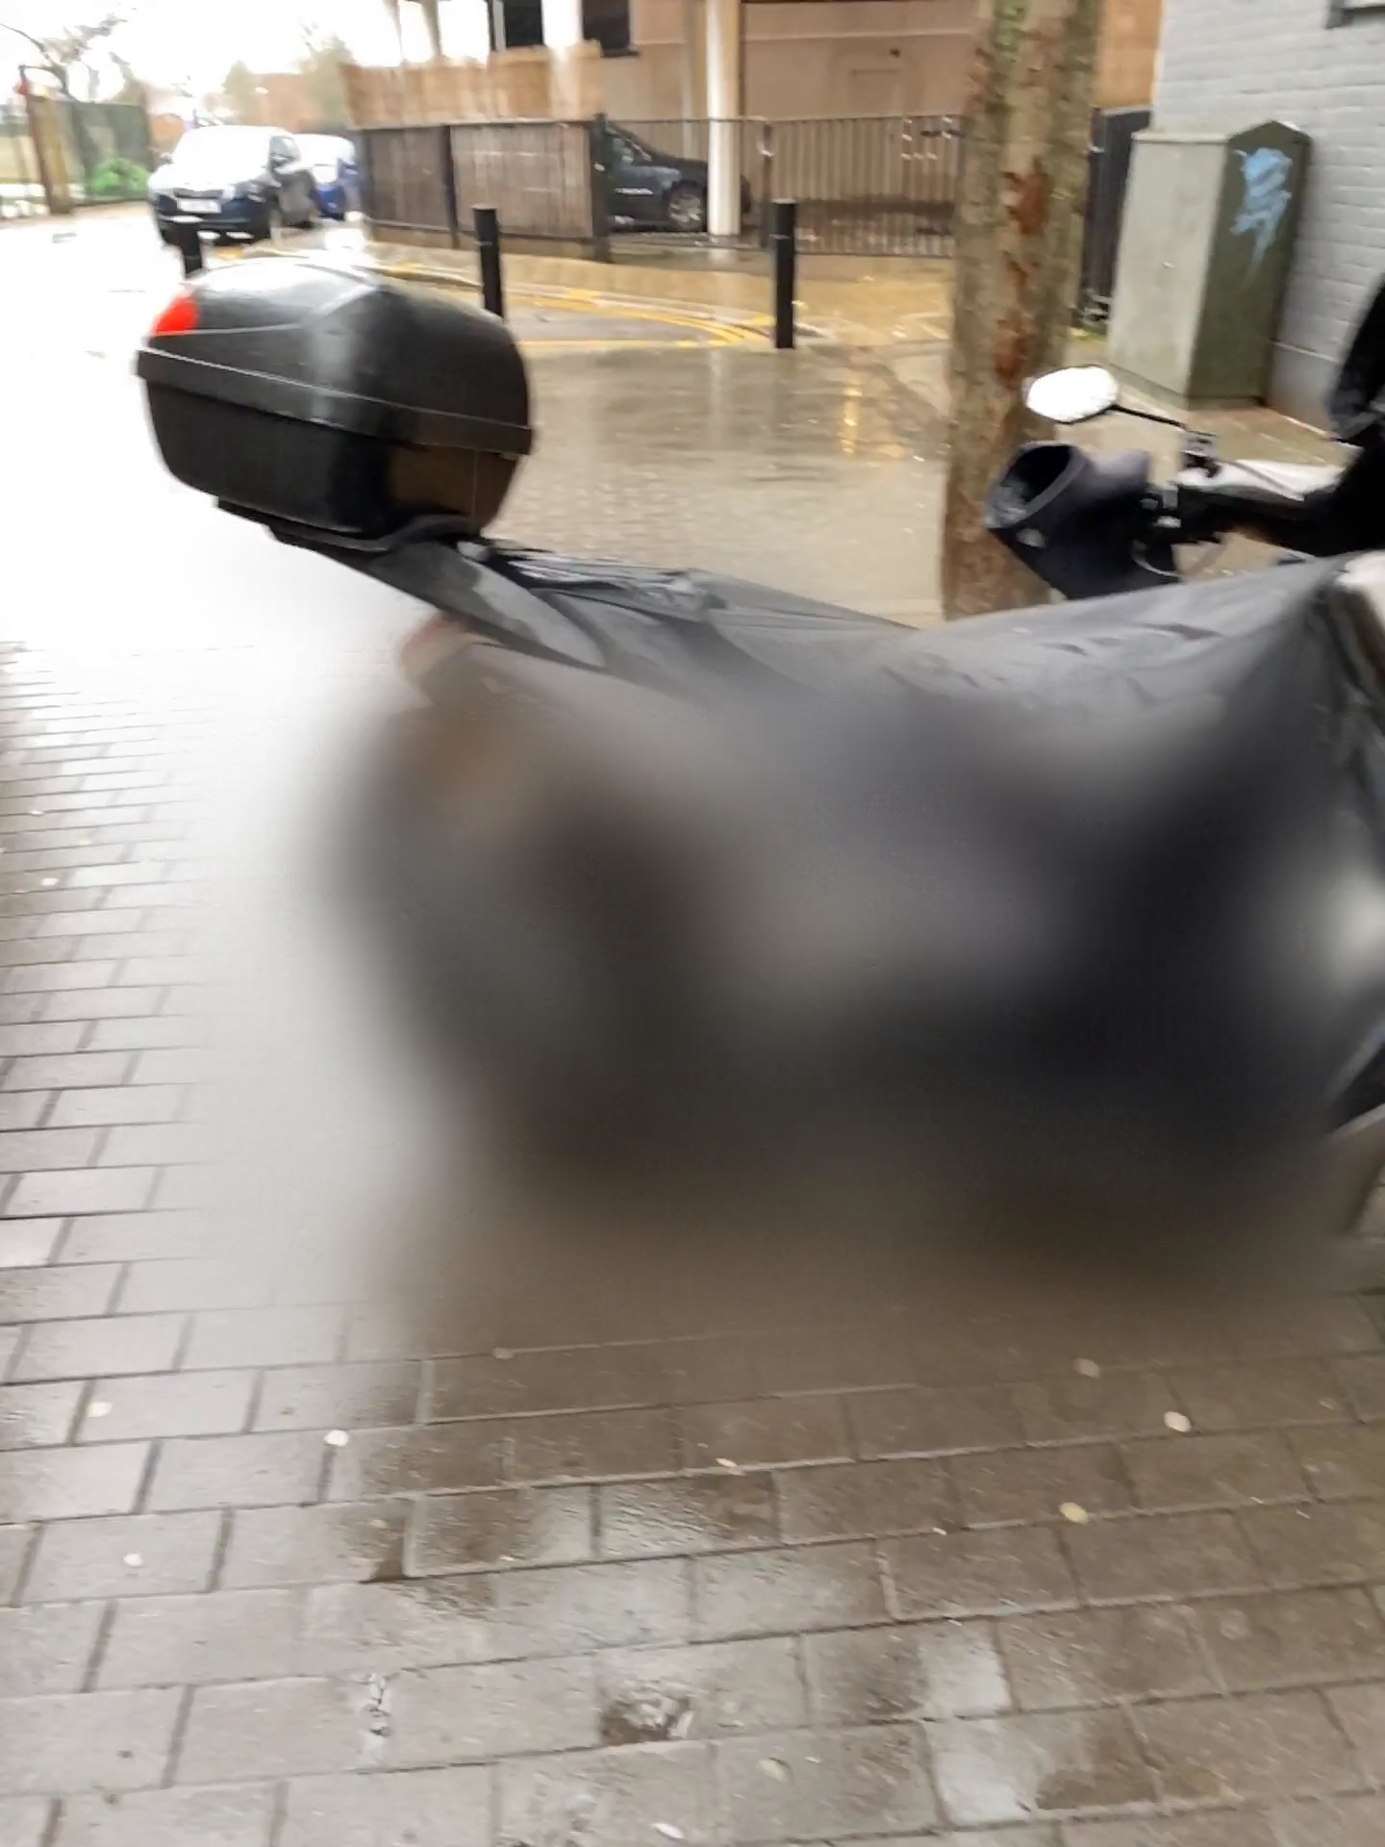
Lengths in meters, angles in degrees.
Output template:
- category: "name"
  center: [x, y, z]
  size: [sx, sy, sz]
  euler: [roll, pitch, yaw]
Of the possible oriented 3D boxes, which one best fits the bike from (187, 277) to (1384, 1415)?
- category: "bike"
  center: [0.457, -0.175, 1.831]
  size: [1.730, 1.121, 0.764]
  euler: [5, 29, 9]
